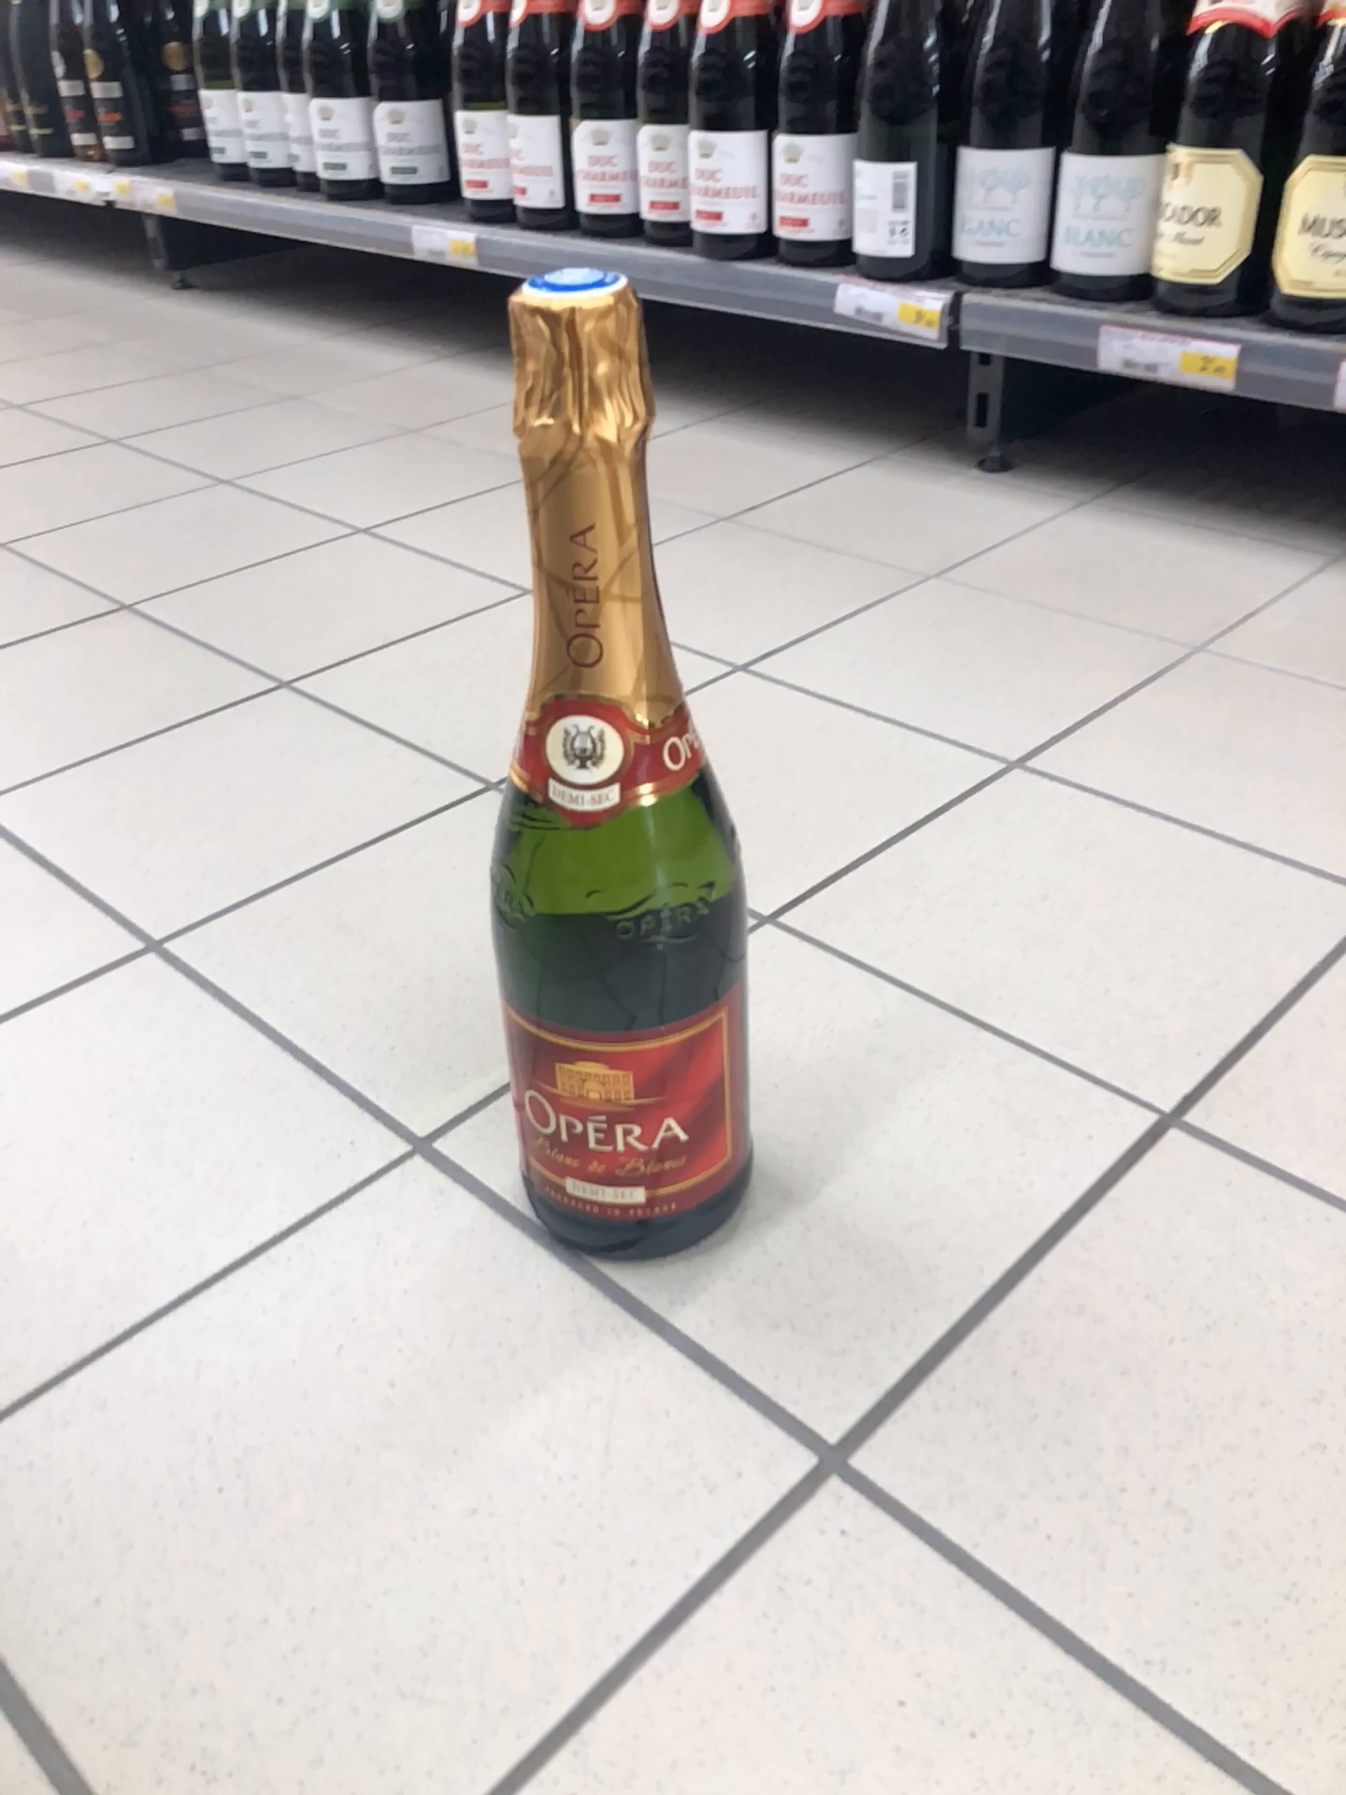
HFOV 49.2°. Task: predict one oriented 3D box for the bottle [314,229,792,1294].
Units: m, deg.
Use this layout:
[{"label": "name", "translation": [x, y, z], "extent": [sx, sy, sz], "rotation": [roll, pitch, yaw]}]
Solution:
[{"label": "bottle", "translation": [-0.020, -0.031, 0.440], "extent": [0.090, 0.298, 0.091], "rotation": [-2, 31, 1]}]
